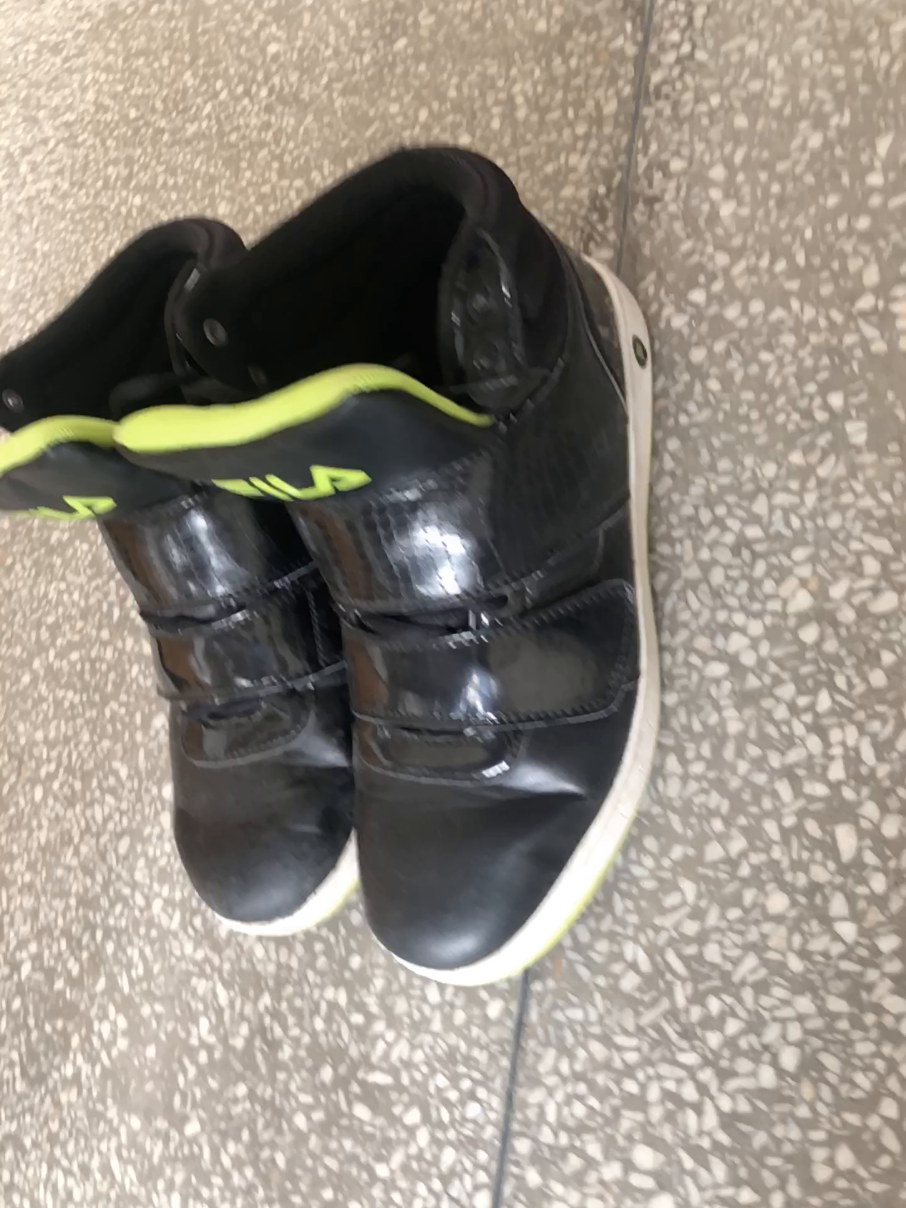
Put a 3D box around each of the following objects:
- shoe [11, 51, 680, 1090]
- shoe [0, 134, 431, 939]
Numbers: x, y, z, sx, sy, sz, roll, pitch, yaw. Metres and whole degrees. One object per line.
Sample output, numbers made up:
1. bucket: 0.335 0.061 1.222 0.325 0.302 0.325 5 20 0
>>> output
1. shoe: -0.015 -0.001 0.324 0.120 0.147 0.250 -3 73 32
2. shoe: -0.100 -0.009 0.405 0.120 0.147 0.270 -11 69 30
